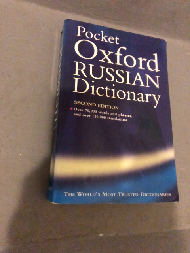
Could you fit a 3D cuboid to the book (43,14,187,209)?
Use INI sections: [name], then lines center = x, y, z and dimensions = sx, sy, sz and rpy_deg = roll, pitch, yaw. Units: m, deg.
[book]
center = 0.024, -0.015, 0.233
dimensions = 0.137, 0.032, 0.195
rpy_deg = 6, 74, -14
